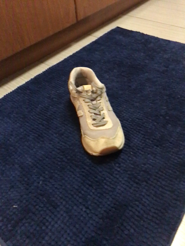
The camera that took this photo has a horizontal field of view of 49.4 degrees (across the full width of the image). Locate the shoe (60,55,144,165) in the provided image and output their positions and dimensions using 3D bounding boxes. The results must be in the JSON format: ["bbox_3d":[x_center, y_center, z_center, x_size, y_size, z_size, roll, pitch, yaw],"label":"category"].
[{"bbox_3d":[0.007,-0.052,0.511,0.130,0.099,0.282,-11,46,-7],"label":"shoe"}]
